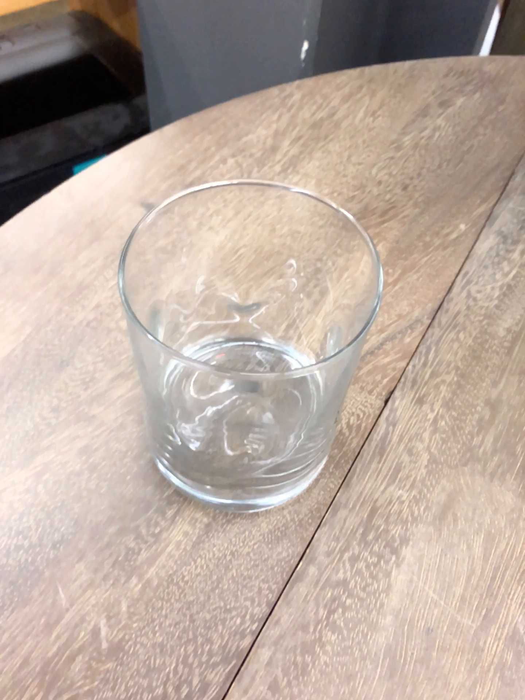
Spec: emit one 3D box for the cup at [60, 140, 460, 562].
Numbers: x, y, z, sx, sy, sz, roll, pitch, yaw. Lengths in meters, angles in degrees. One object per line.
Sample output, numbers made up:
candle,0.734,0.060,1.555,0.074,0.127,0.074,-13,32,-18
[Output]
cup,-0.005,0.002,0.209,0.084,0.098,0.084,2,54,-2
